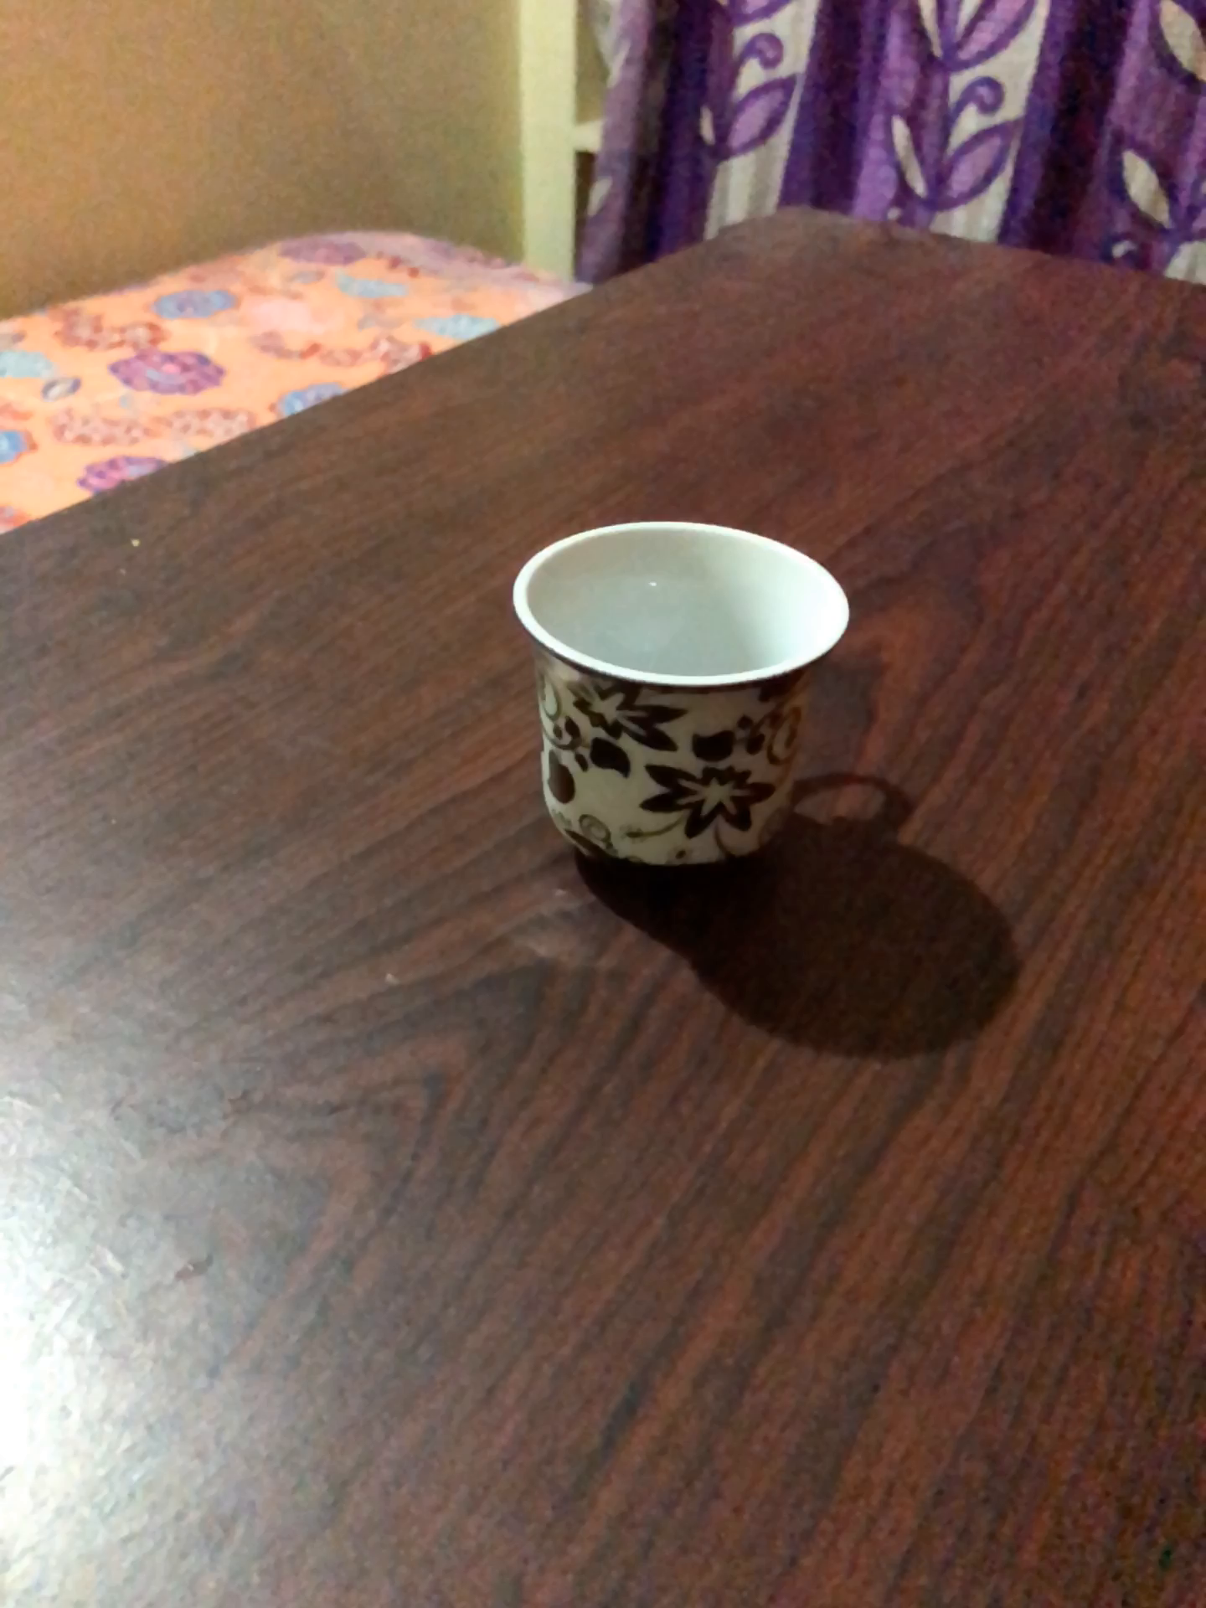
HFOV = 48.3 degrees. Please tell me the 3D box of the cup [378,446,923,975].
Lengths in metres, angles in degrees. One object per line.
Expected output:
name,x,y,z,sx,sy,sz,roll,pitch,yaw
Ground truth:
cup,0.012,-0.024,0.265,0.070,0.050,0.091,18,40,20
